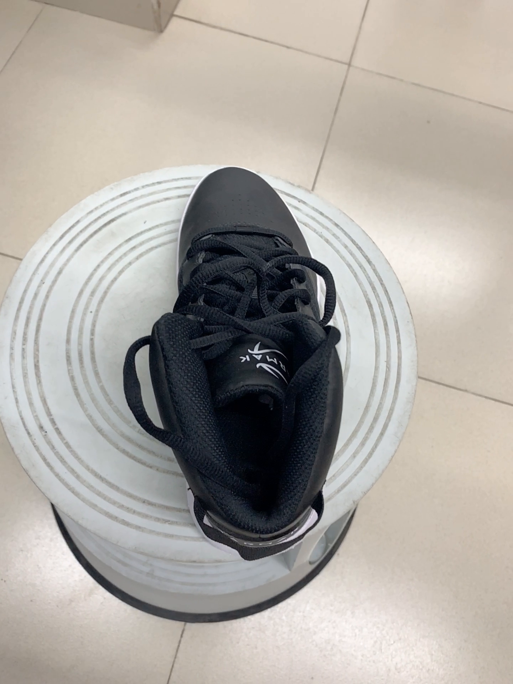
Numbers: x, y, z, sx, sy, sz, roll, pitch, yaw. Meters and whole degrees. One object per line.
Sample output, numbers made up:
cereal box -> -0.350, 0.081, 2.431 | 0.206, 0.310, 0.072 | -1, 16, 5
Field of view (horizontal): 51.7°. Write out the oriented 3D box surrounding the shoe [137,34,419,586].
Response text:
shoe -> -0.006, -0.019, 0.259 | 0.090, 0.100, 0.240 | -3, 68, -7
